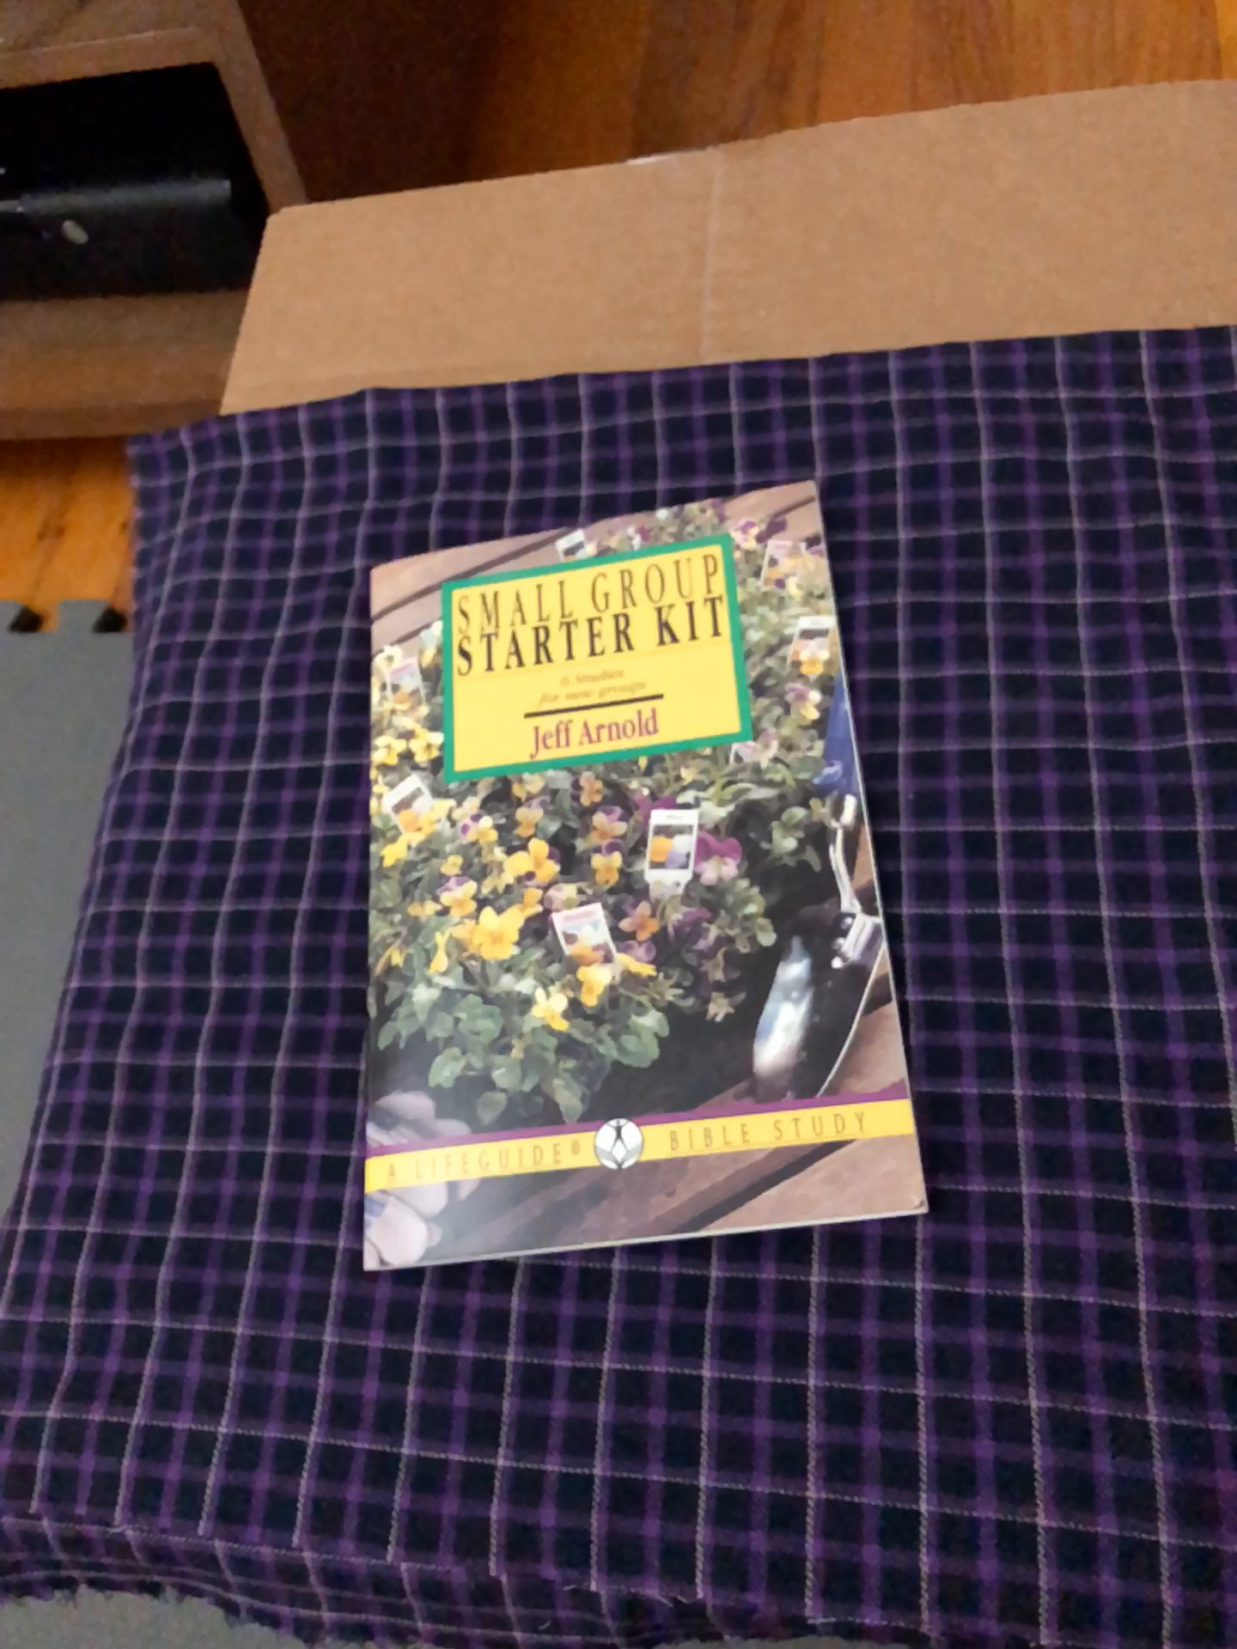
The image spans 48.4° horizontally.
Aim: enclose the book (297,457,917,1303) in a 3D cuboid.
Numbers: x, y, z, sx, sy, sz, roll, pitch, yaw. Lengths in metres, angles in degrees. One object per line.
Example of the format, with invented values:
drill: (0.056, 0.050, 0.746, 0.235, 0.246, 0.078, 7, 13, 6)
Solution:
book: (-0.012, 0.007, 0.373, 0.150, 0.010, 0.221, -9, 65, 11)
